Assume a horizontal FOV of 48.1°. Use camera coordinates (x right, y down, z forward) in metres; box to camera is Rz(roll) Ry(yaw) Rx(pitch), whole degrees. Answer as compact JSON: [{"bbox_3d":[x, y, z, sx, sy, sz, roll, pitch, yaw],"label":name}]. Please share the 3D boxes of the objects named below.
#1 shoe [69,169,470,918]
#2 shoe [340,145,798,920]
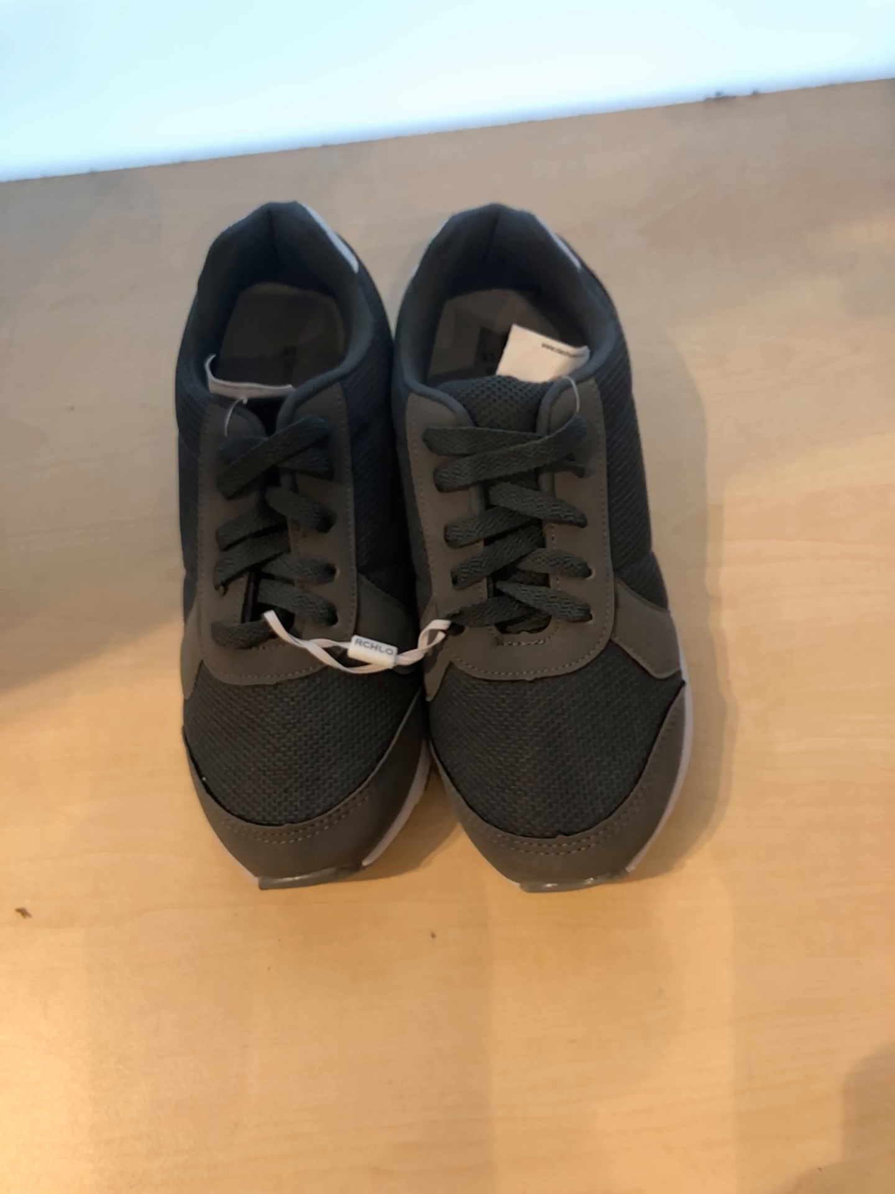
[{"bbox_3d":[-0.055,-0.016,0.349,0.100,0.100,0.231,-6,68,2],"label":"shoe"},{"bbox_3d":[0.030,-0.021,0.352,0.100,0.100,0.241,-8,68,1],"label":"shoe"}]
